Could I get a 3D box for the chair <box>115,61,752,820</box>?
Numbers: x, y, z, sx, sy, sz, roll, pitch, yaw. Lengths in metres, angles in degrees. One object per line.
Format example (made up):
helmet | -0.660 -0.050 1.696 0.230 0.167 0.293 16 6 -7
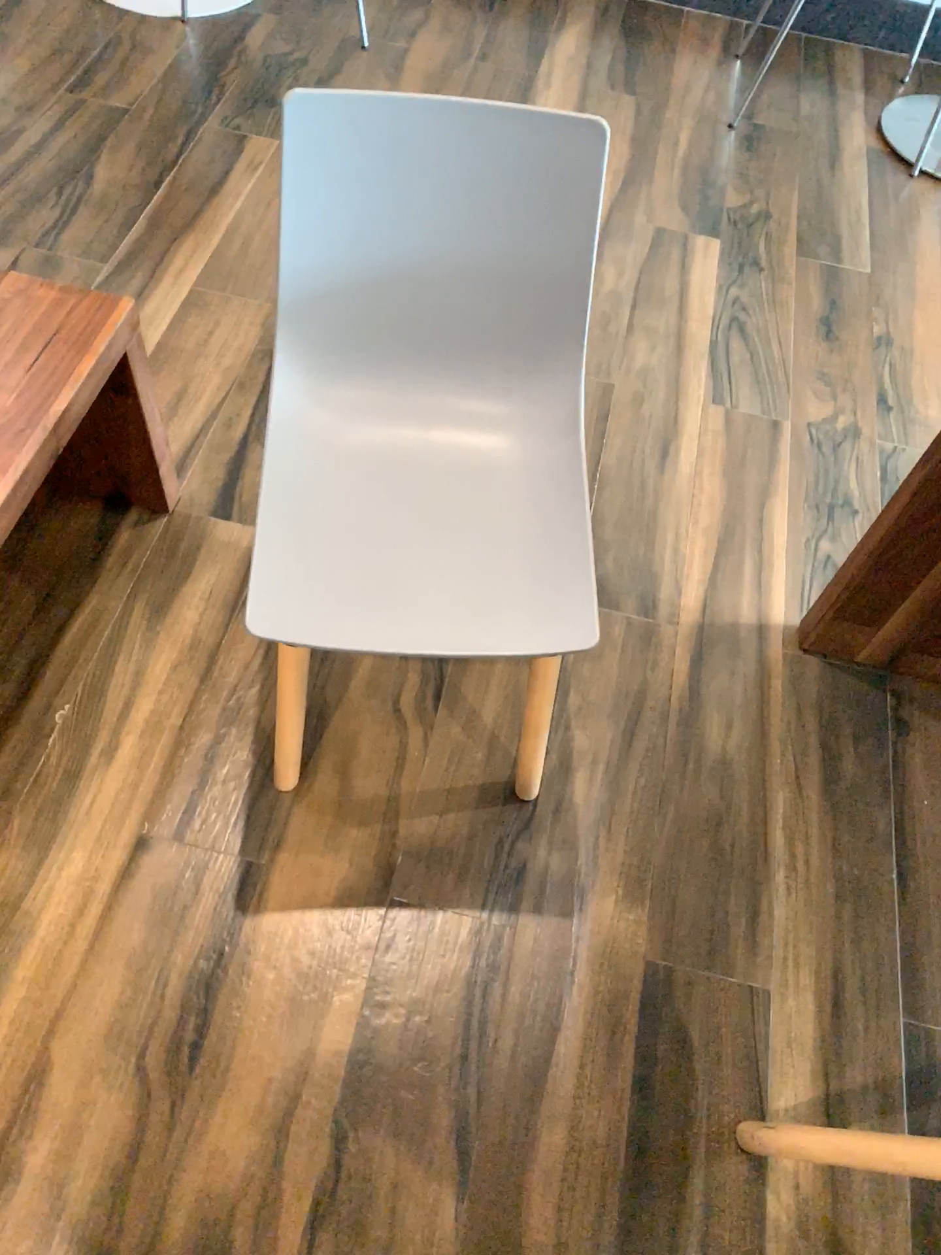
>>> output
chair | -0.050 -0.173 1.193 0.500 0.696 0.564 5 57 -4
